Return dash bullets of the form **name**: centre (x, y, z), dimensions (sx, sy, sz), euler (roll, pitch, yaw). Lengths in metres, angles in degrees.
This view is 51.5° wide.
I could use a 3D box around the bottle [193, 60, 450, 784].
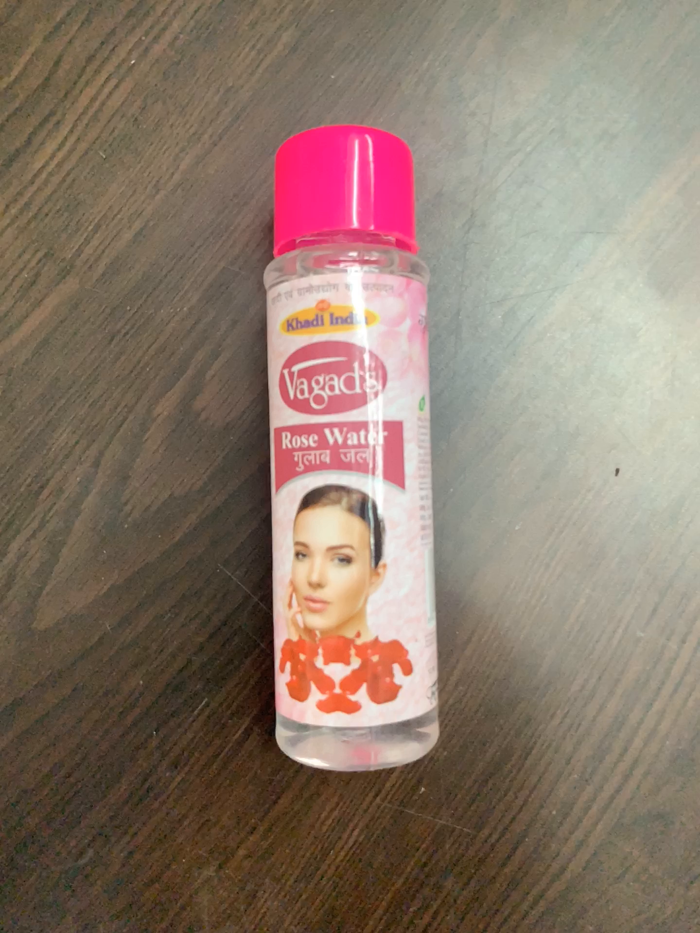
- **bottle**: centre (-0.004, -0.008, 0.162), dimensions (0.050, 0.040, 0.140), euler (0, 92, 4)
